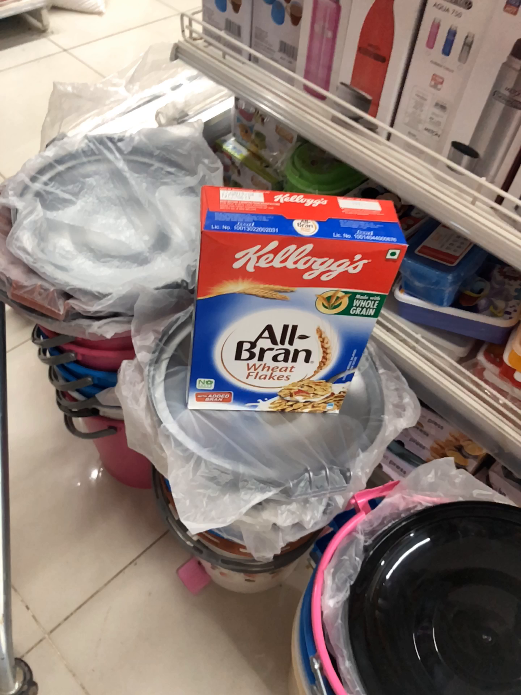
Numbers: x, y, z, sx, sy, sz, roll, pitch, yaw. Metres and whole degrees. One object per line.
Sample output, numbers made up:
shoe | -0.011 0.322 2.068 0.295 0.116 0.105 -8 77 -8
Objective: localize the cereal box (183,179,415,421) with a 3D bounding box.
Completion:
cereal box | 0.019 -0.031 0.603 0.190 0.269 0.070 2 49 -7
